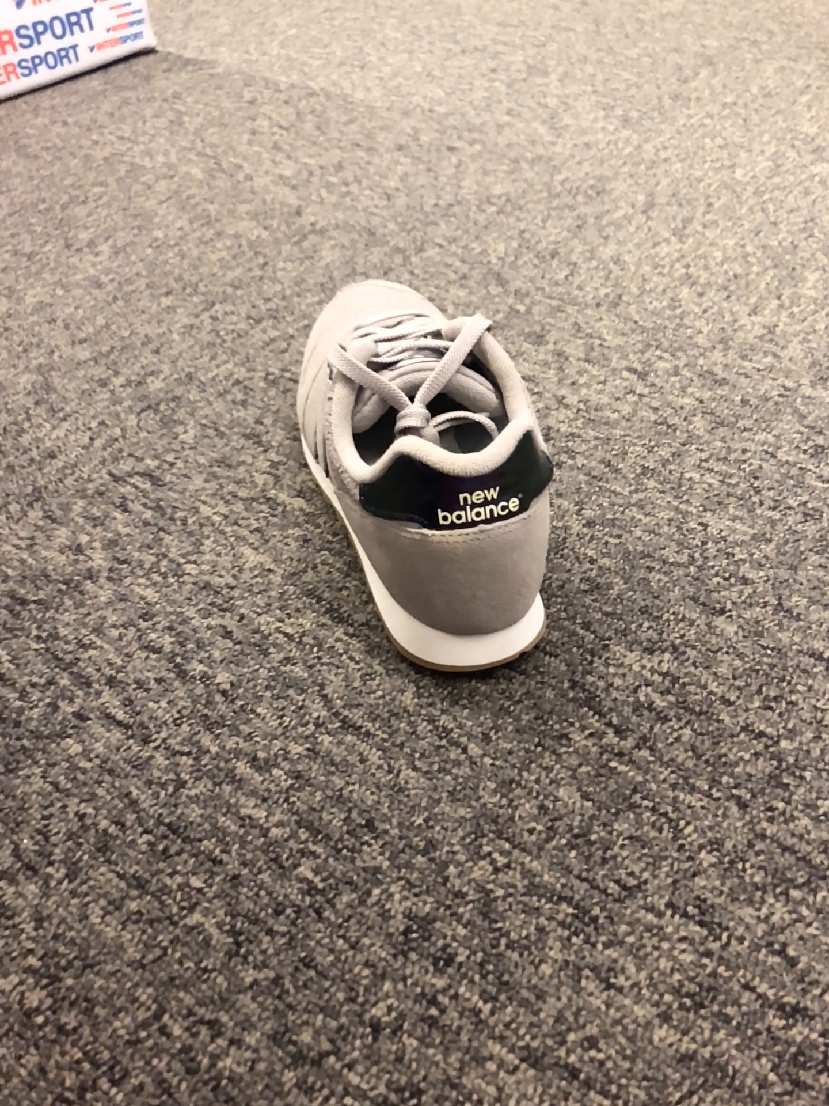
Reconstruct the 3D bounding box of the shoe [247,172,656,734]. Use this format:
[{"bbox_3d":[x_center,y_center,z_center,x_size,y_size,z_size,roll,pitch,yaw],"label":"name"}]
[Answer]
[{"bbox_3d":[-0.001,-0.066,0.418,0.100,0.109,0.261,-12,43,-9],"label":"shoe"}]
